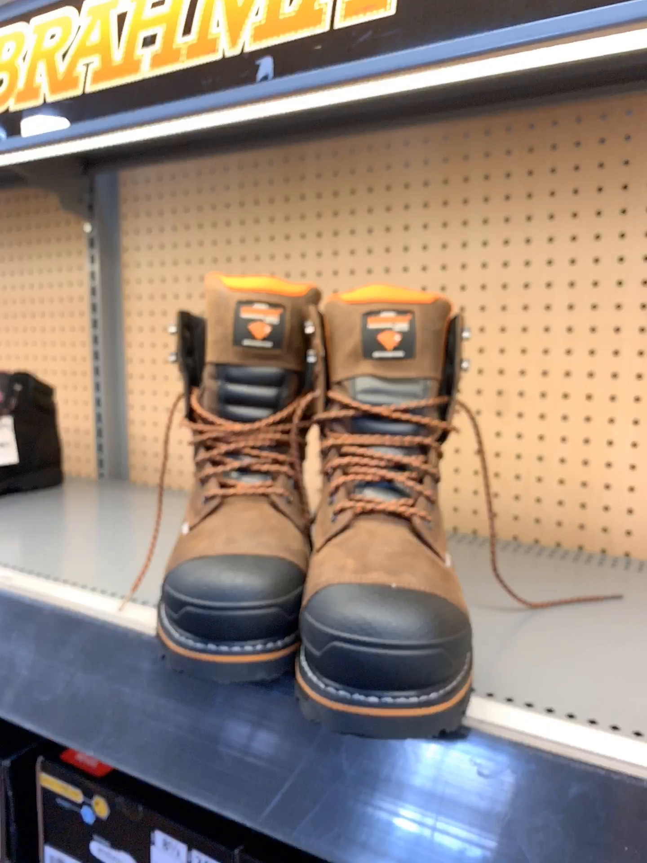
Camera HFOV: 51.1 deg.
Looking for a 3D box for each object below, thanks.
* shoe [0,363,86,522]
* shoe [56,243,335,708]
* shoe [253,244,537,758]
[{"bbox_3d":[-0.484,0.000,0.929,0.146,0.170,0.258,5,10,30],"label":"shoe"},{"bbox_3d":[-0.073,0.008,0.561,0.136,0.280,0.314,1,8,6],"label":"shoe"},{"bbox_3d":[0.044,0.016,0.496,0.134,0.260,0.319,1,8,4],"label":"shoe"}]
